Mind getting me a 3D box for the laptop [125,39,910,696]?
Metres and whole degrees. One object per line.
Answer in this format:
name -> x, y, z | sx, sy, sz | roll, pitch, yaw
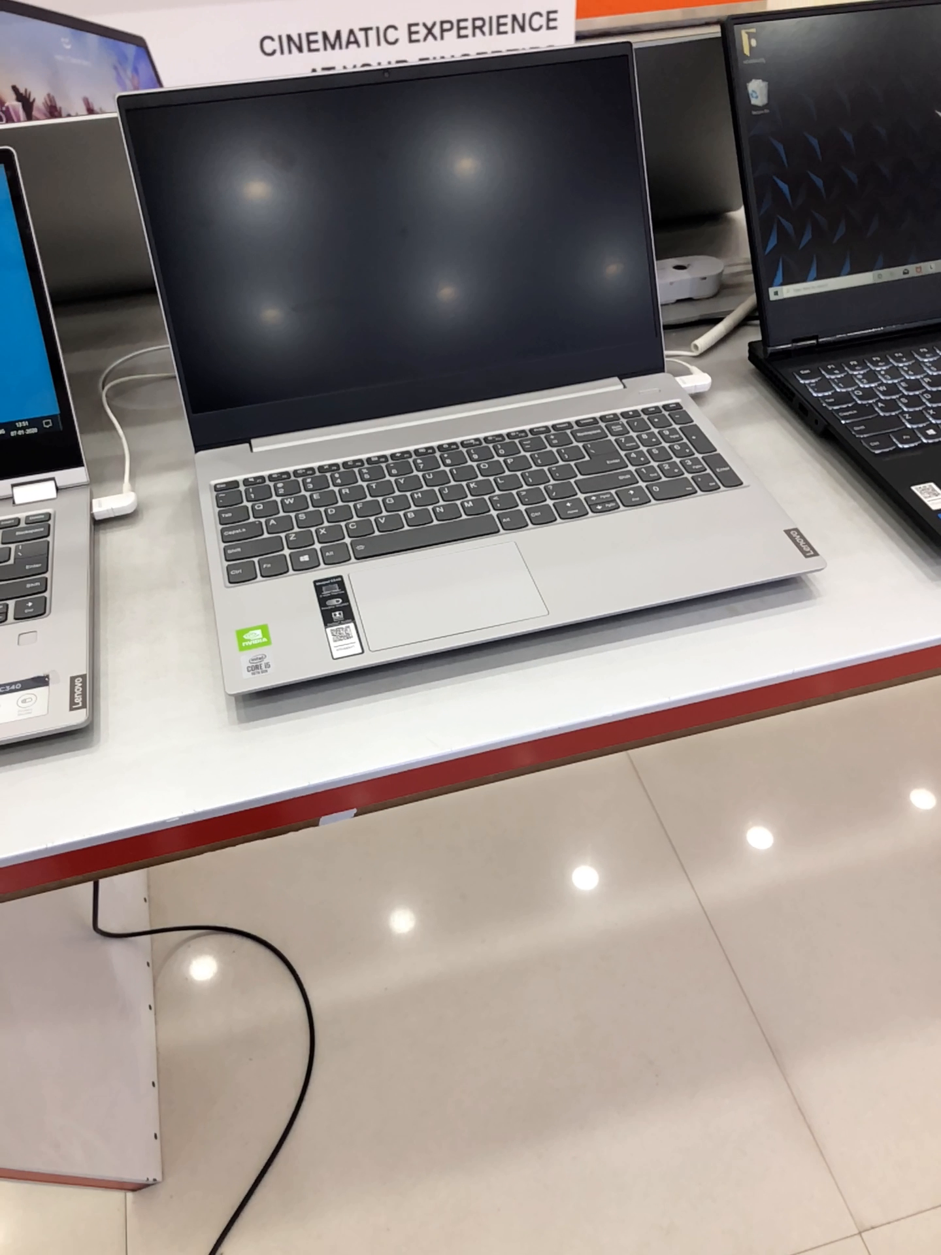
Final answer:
laptop -> -0.007, -0.186, 0.628 | 0.342, 0.196, 0.346 | -12, 43, -10
